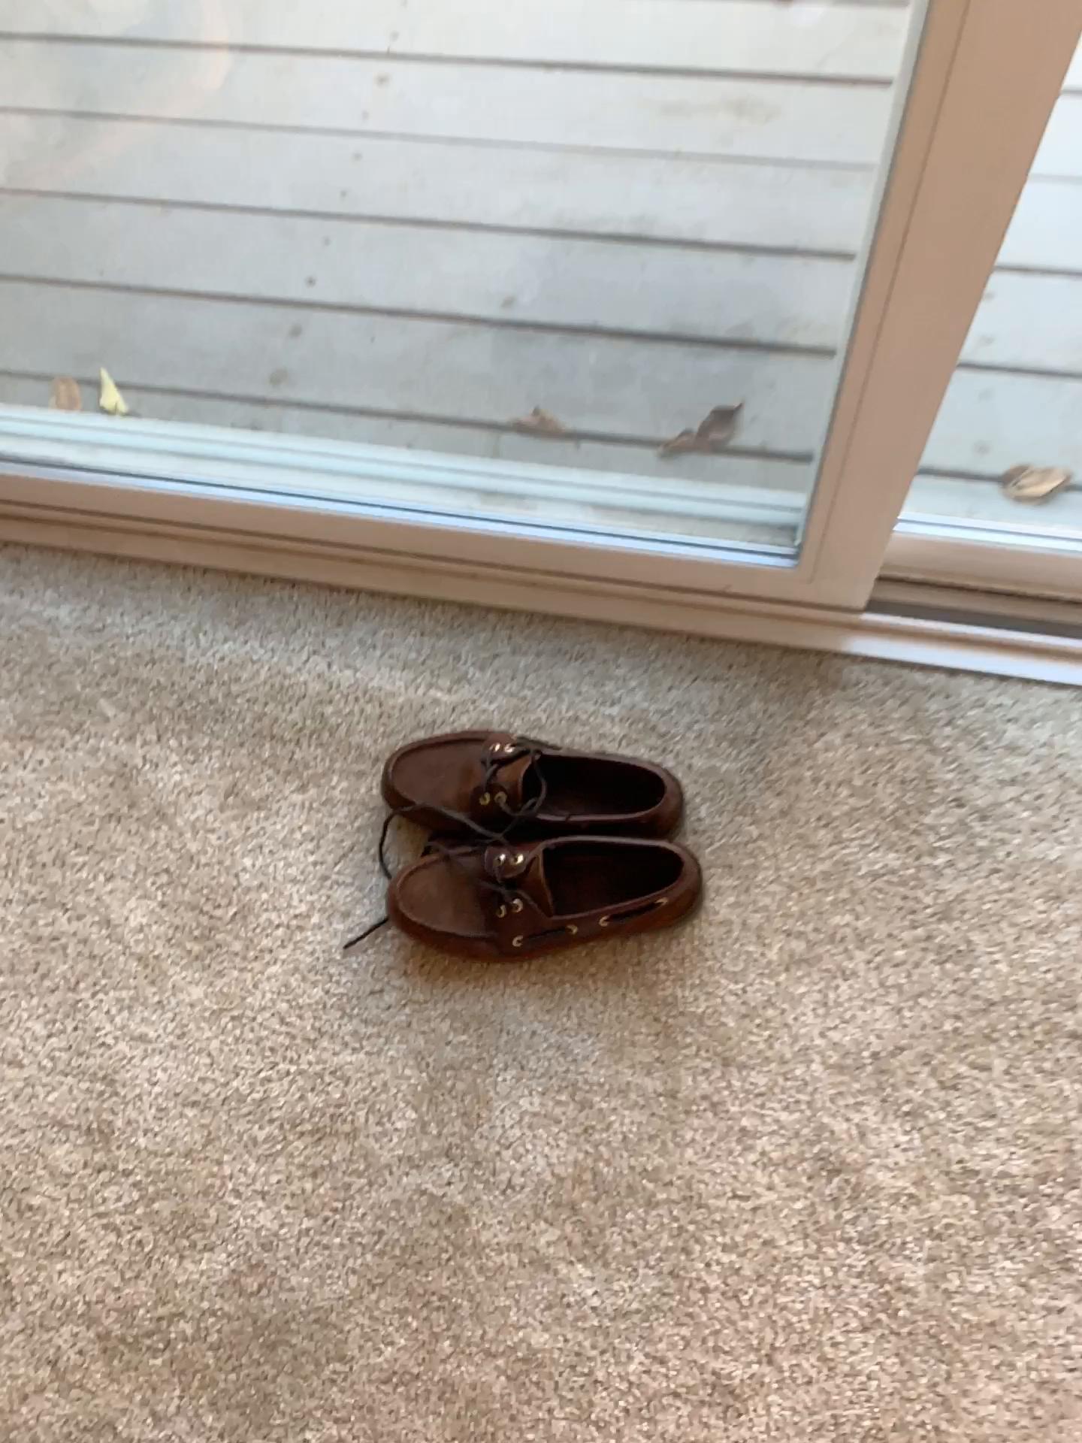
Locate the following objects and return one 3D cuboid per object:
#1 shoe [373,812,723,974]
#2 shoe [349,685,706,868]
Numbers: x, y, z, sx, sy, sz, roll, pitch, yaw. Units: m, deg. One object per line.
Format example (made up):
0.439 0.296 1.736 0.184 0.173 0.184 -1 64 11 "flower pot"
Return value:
0.006 0.154 0.982 0.290 0.100 0.100 -5 68 4 "shoe"
-0.007 0.051 1.018 0.300 0.100 0.110 6 69 8 "shoe"
